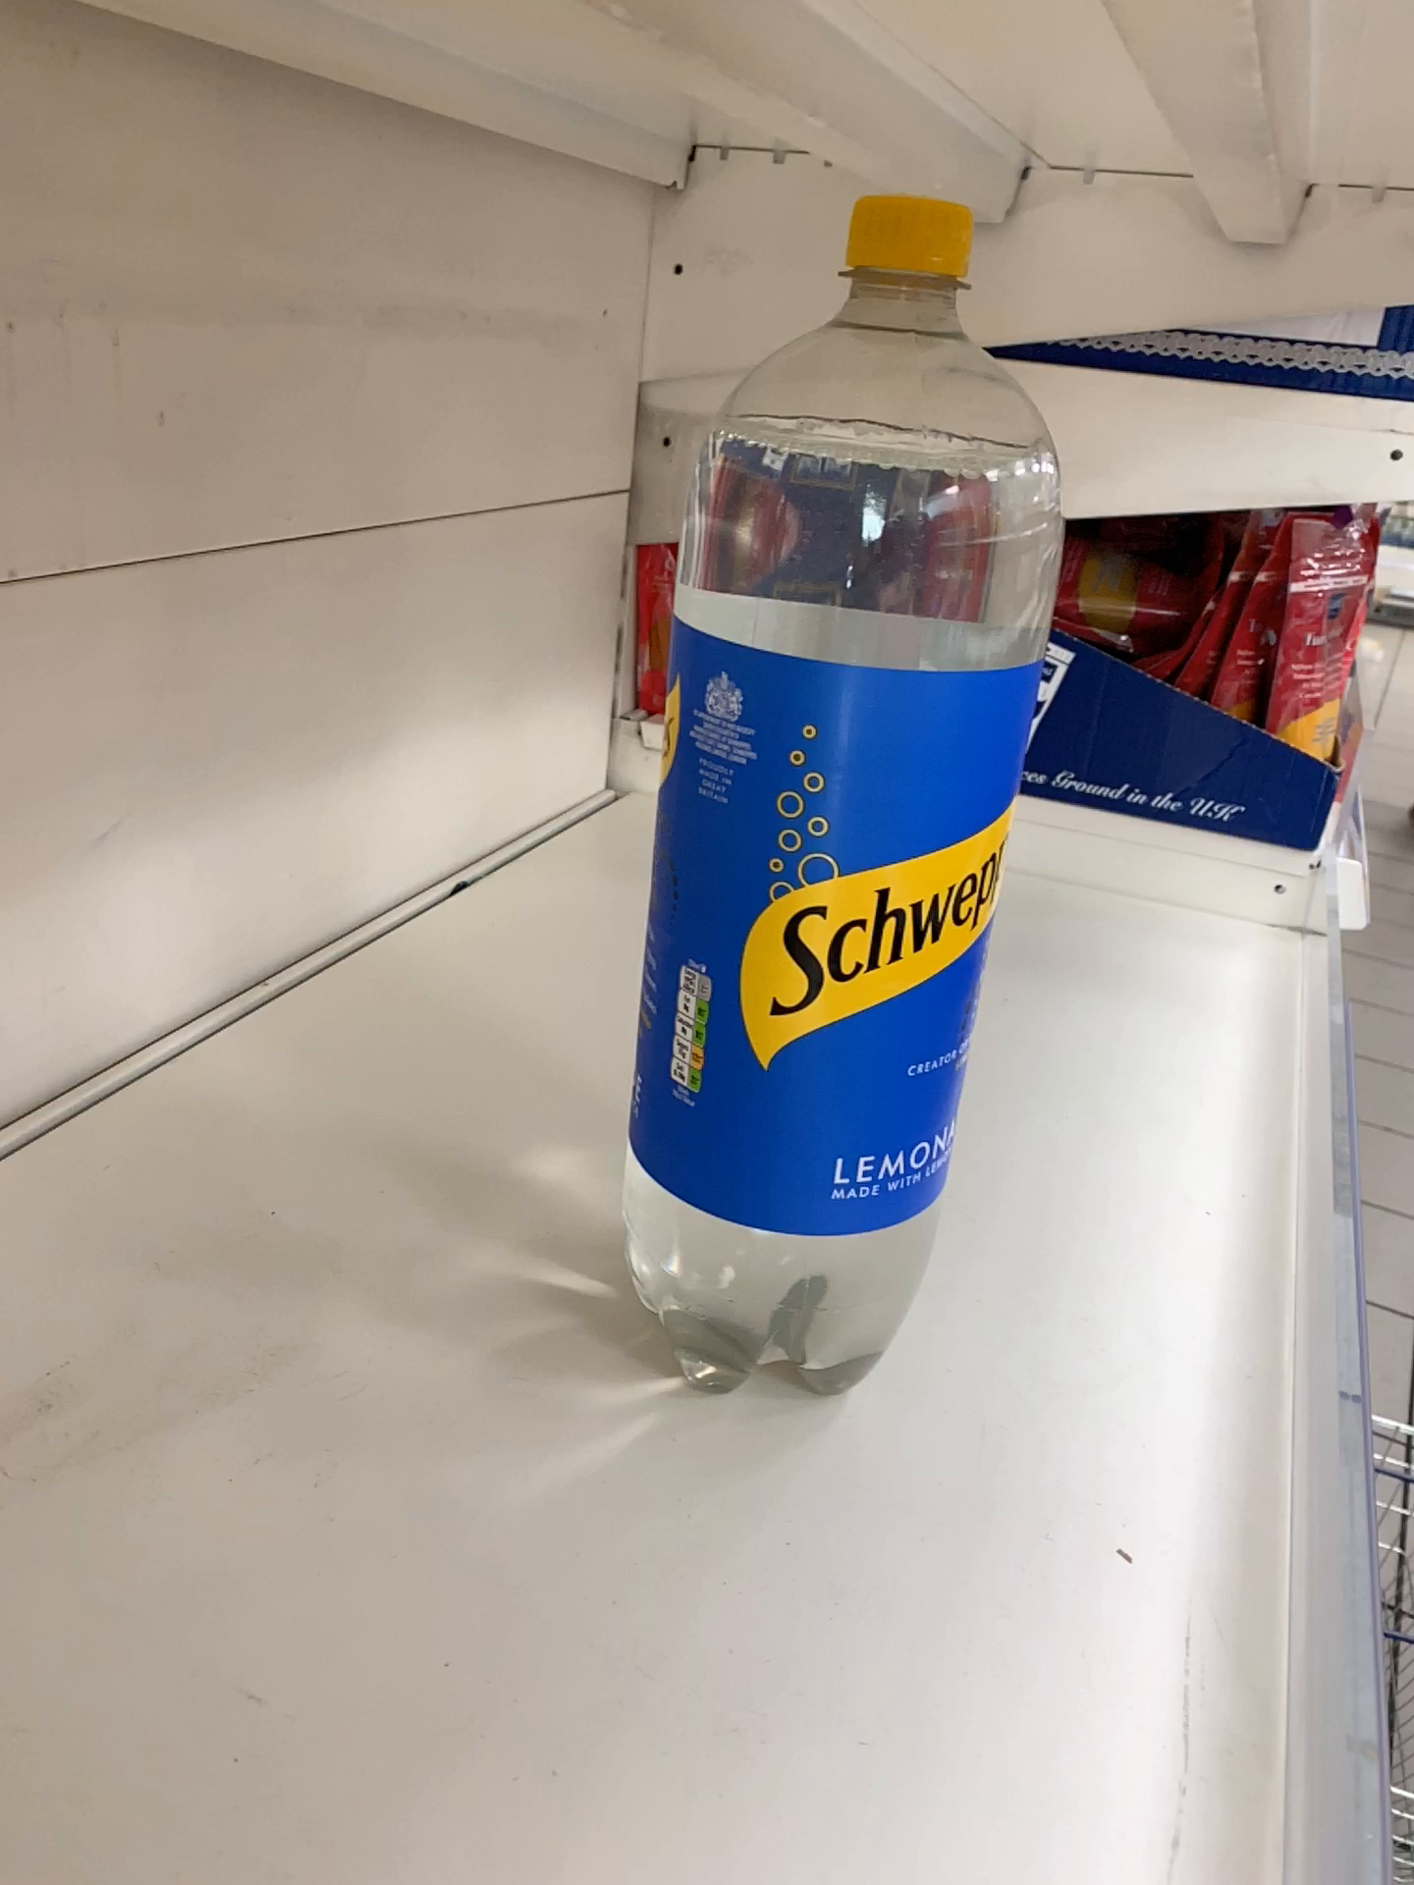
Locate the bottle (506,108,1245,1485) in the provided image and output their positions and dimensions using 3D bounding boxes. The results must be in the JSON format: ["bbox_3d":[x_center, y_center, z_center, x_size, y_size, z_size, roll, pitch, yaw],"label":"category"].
[{"bbox_3d":[0.030,-0.034,0.402,0.110,0.327,0.111,6,22,-2],"label":"bottle"}]
